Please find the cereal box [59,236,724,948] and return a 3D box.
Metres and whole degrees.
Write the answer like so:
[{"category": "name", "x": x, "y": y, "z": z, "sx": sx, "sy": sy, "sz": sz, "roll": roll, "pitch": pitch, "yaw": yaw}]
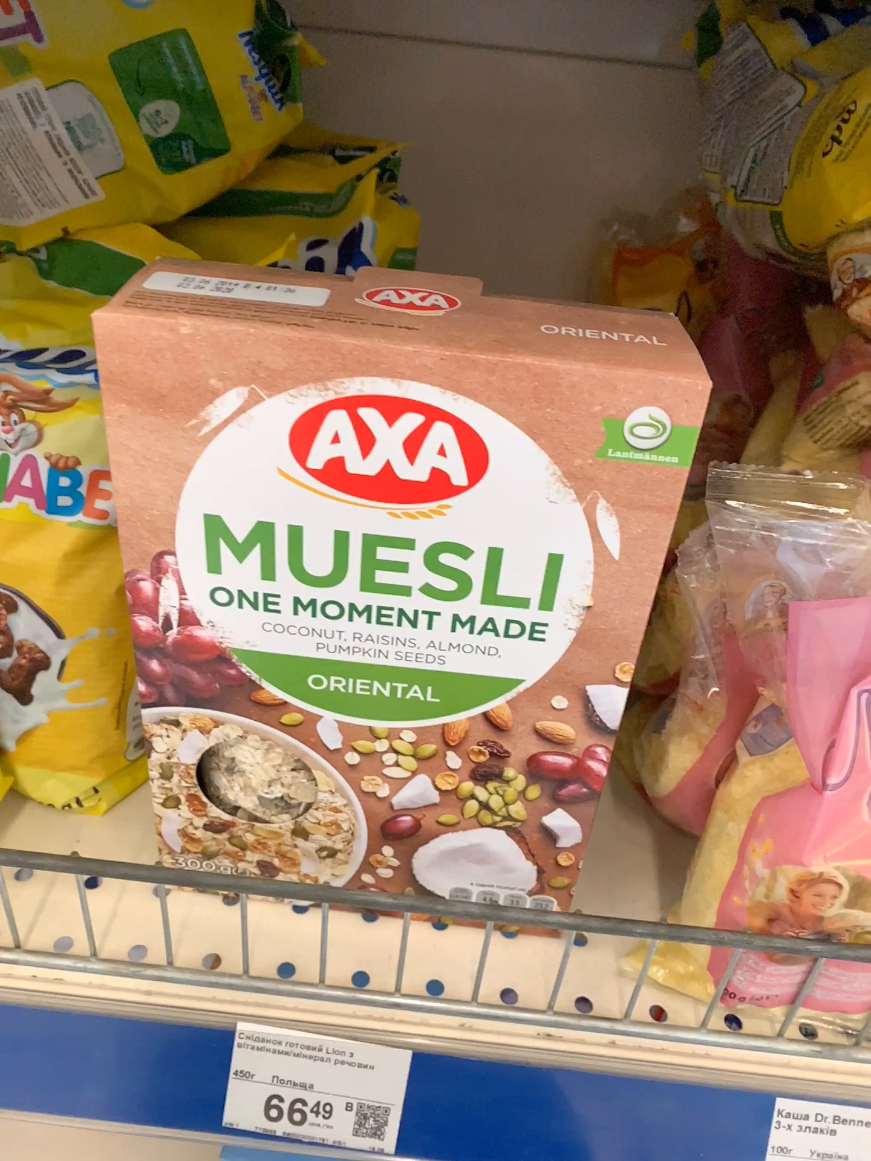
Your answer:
[{"category": "cereal box", "x": -0.017, "y": 0.019, "z": 0.285, "sx": 0.150, "sy": 0.218, "sz": 0.050, "roll": 7, "pitch": 35, "yaw": 2}]
